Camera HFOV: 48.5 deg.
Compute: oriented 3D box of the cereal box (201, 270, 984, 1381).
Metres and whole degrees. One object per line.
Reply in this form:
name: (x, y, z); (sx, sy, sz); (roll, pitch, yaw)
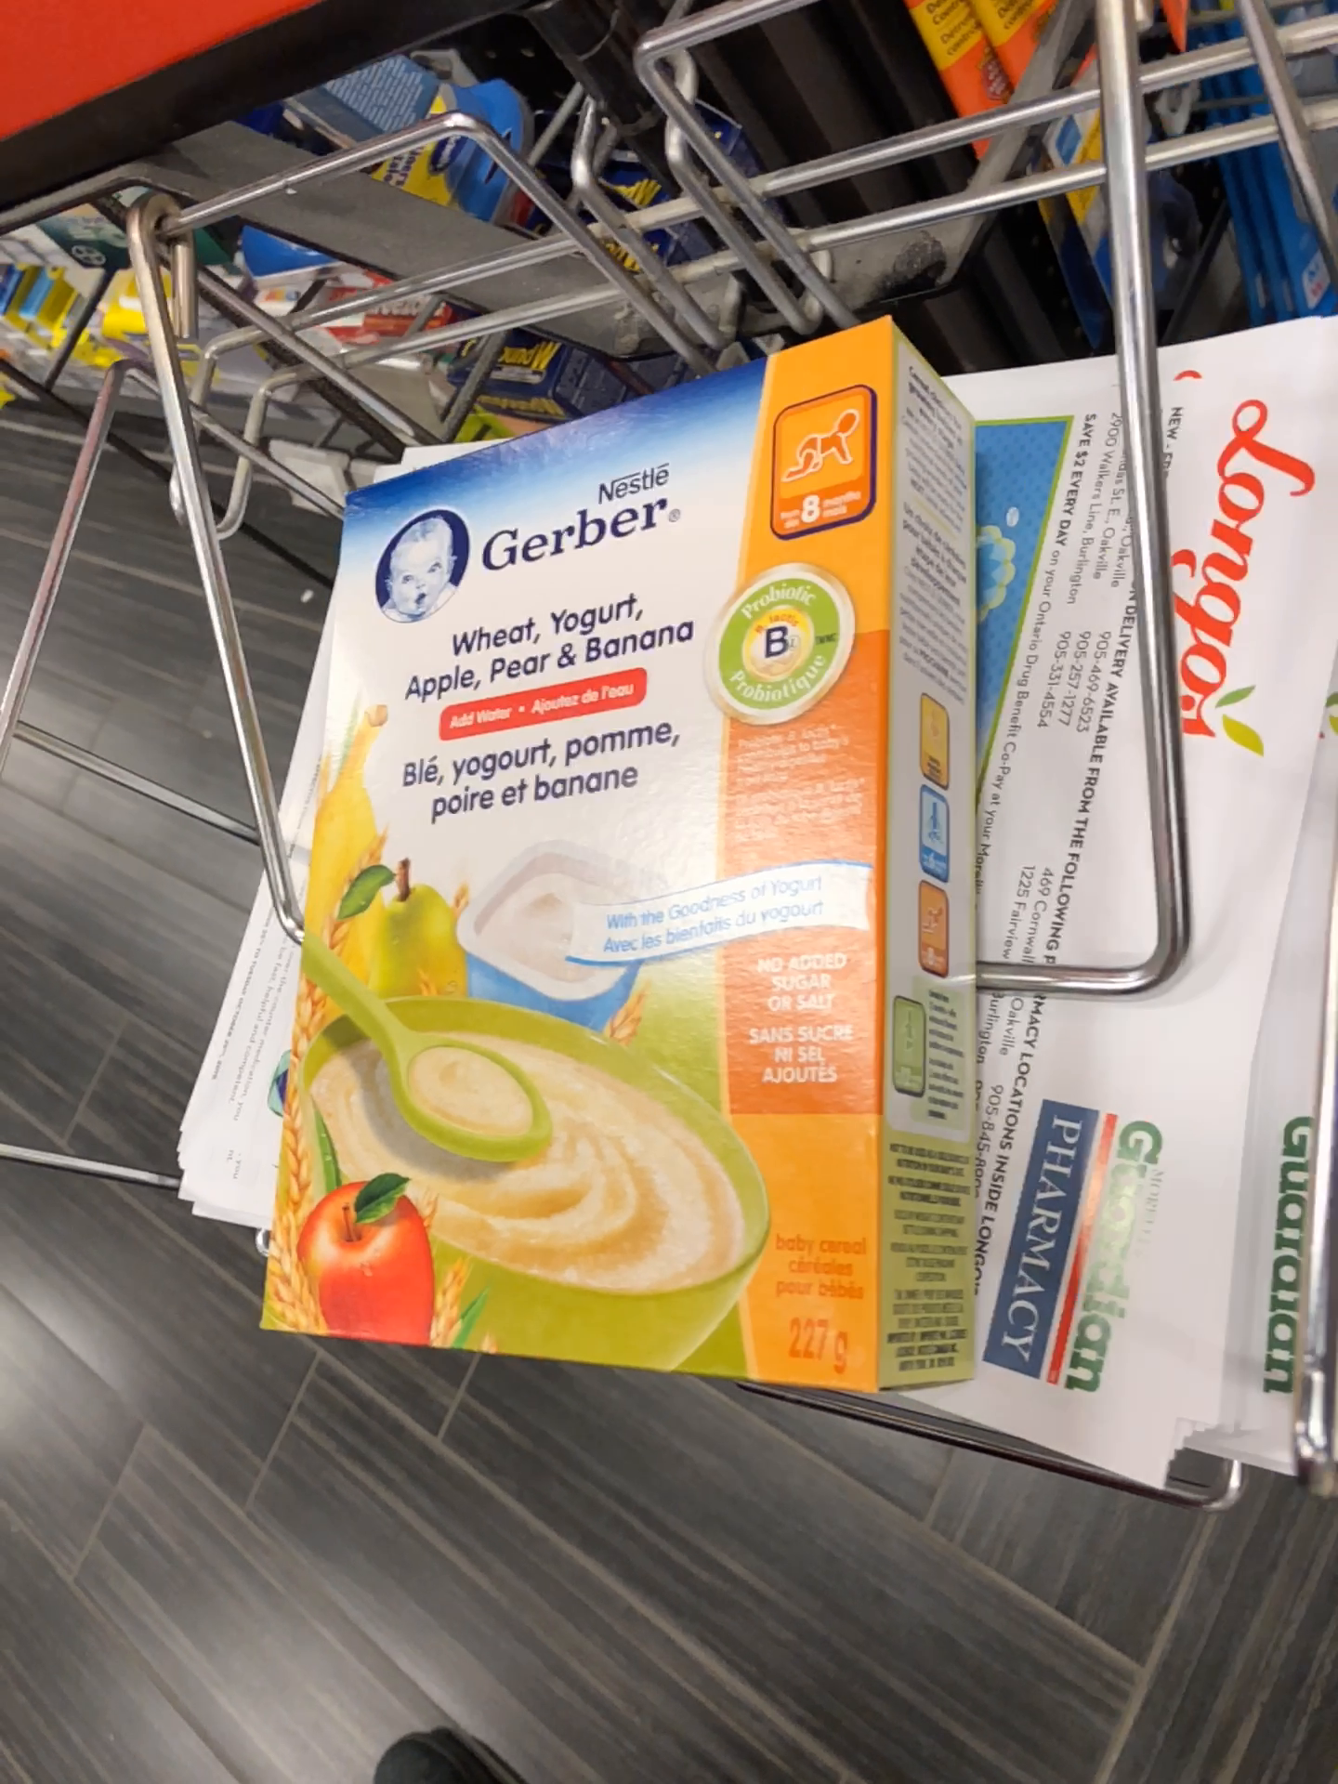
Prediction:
cereal box: (-0.016, -0.006, 0.313); (0.151, 0.050, 0.200); (-8, 70, 33)
